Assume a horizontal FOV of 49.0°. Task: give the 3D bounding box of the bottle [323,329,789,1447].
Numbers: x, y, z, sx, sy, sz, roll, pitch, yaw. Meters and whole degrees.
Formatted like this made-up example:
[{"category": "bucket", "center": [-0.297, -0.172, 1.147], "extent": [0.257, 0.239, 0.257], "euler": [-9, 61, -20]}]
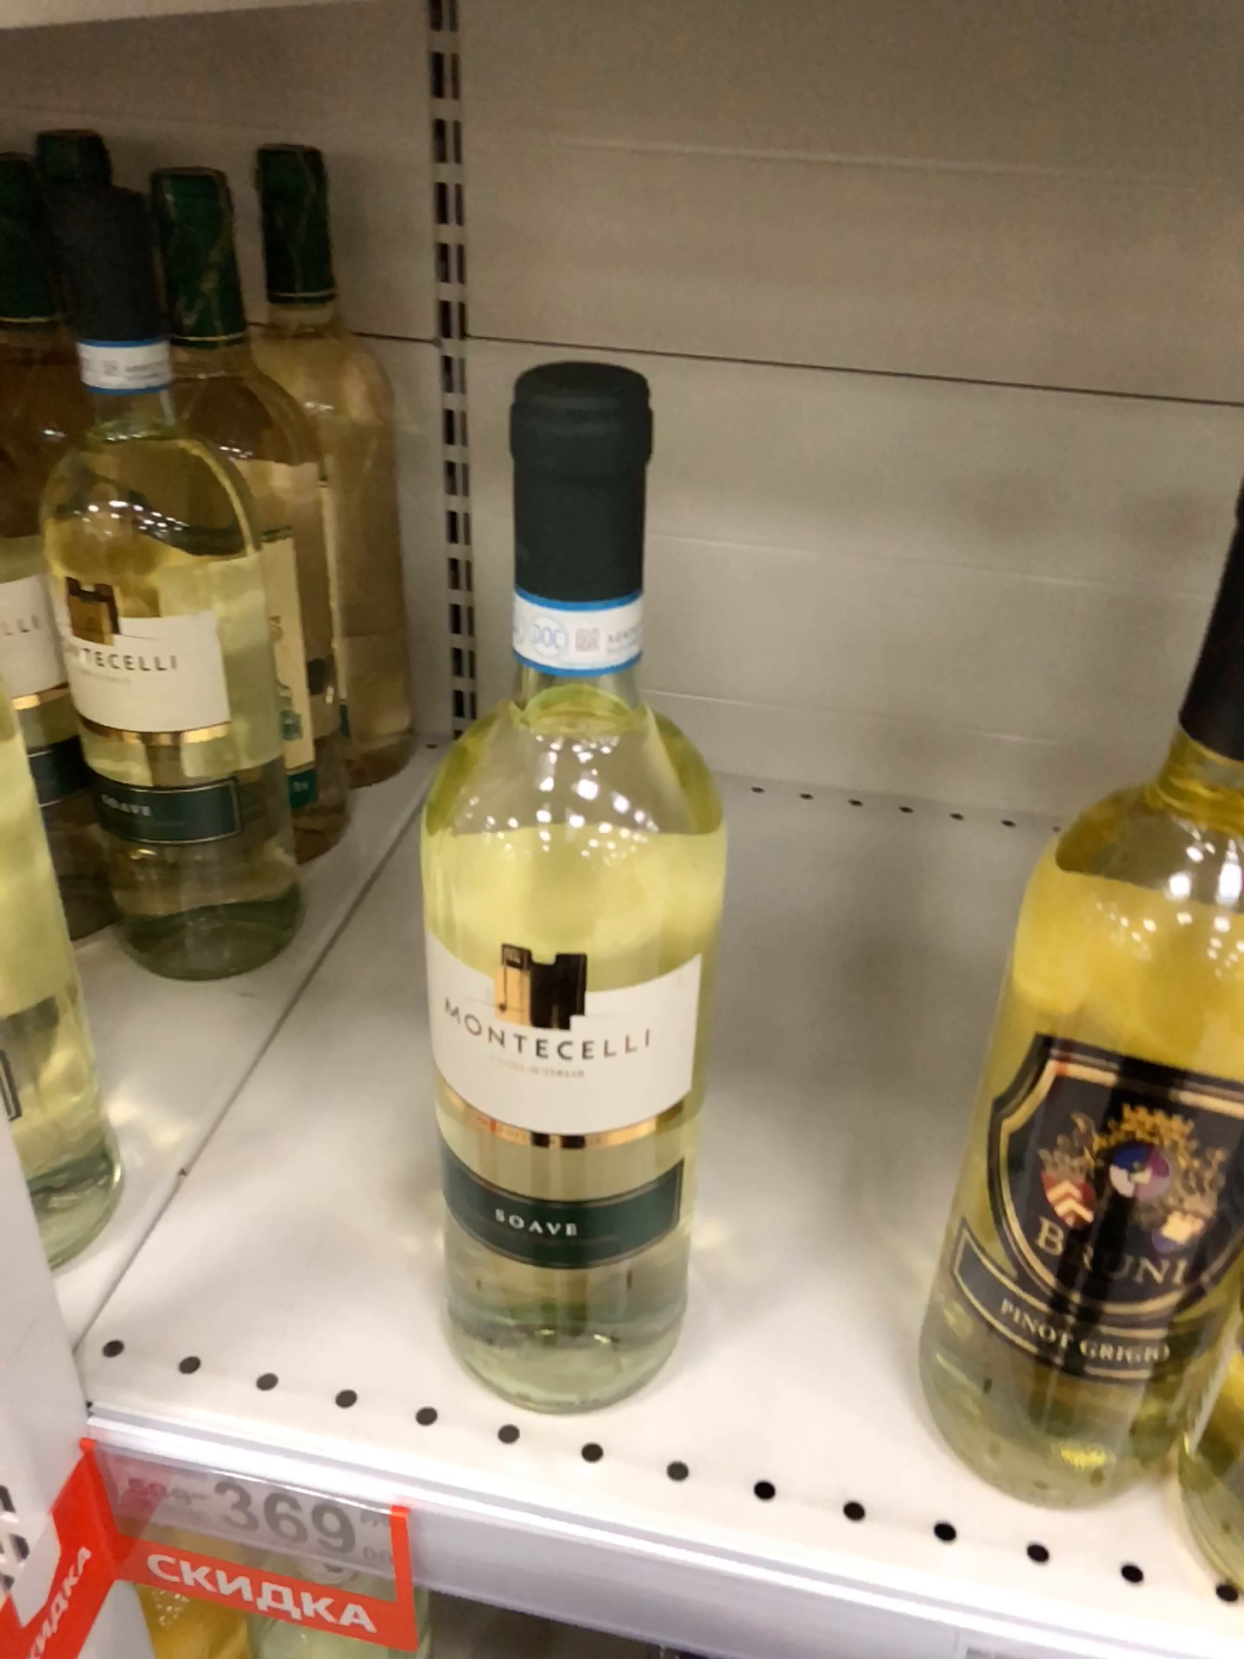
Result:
[{"category": "bottle", "center": [-0.014, 0.032, 0.345], "extent": [0.080, 0.284, 0.070], "euler": [6, 33, 6]}]
